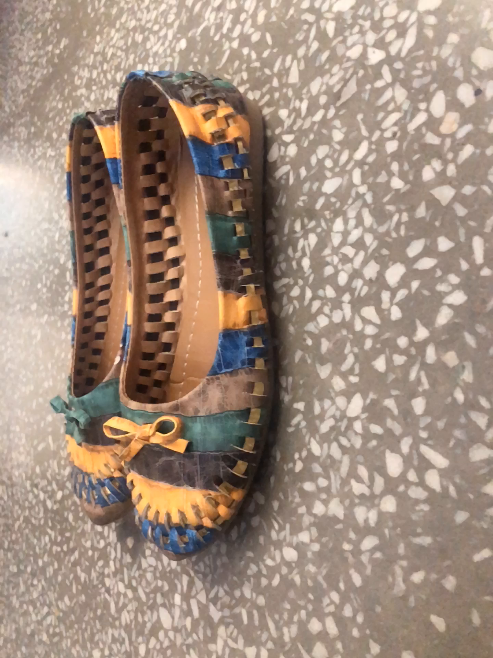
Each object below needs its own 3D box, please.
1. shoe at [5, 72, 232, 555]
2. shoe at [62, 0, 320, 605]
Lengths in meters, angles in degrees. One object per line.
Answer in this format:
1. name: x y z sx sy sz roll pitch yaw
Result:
1. shoe: -0.078 -0.007 0.327 0.090 0.073 0.237 5 89 49
2. shoe: -0.027 -0.012 0.270 0.090 0.073 0.237 -2 83 49
